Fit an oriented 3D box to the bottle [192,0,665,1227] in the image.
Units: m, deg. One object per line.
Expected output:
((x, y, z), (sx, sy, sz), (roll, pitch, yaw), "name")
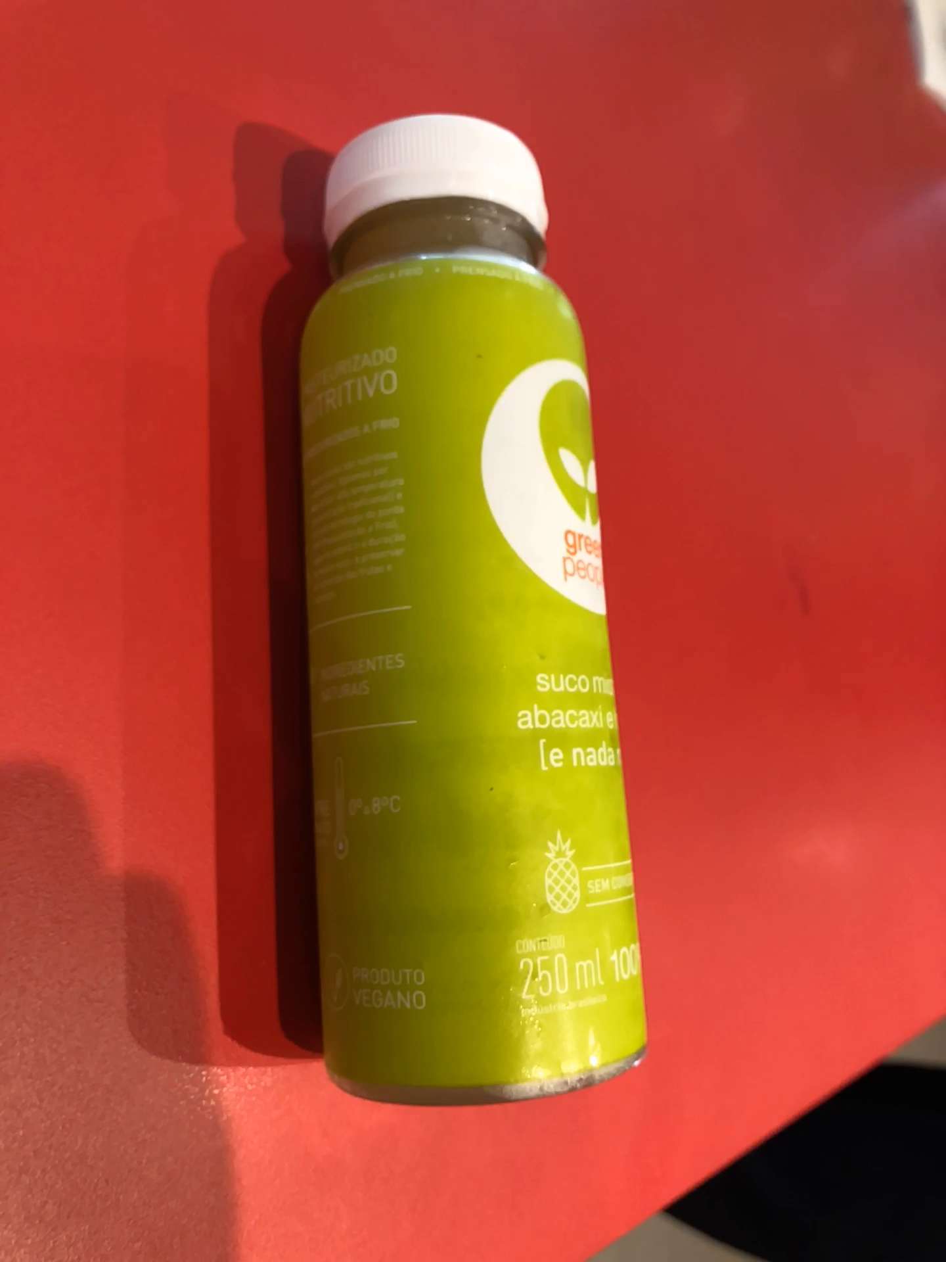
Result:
((-0.005, -0.009, 0.175), (0.060, 0.050, 0.170), (8, 80, -61), "bottle")
